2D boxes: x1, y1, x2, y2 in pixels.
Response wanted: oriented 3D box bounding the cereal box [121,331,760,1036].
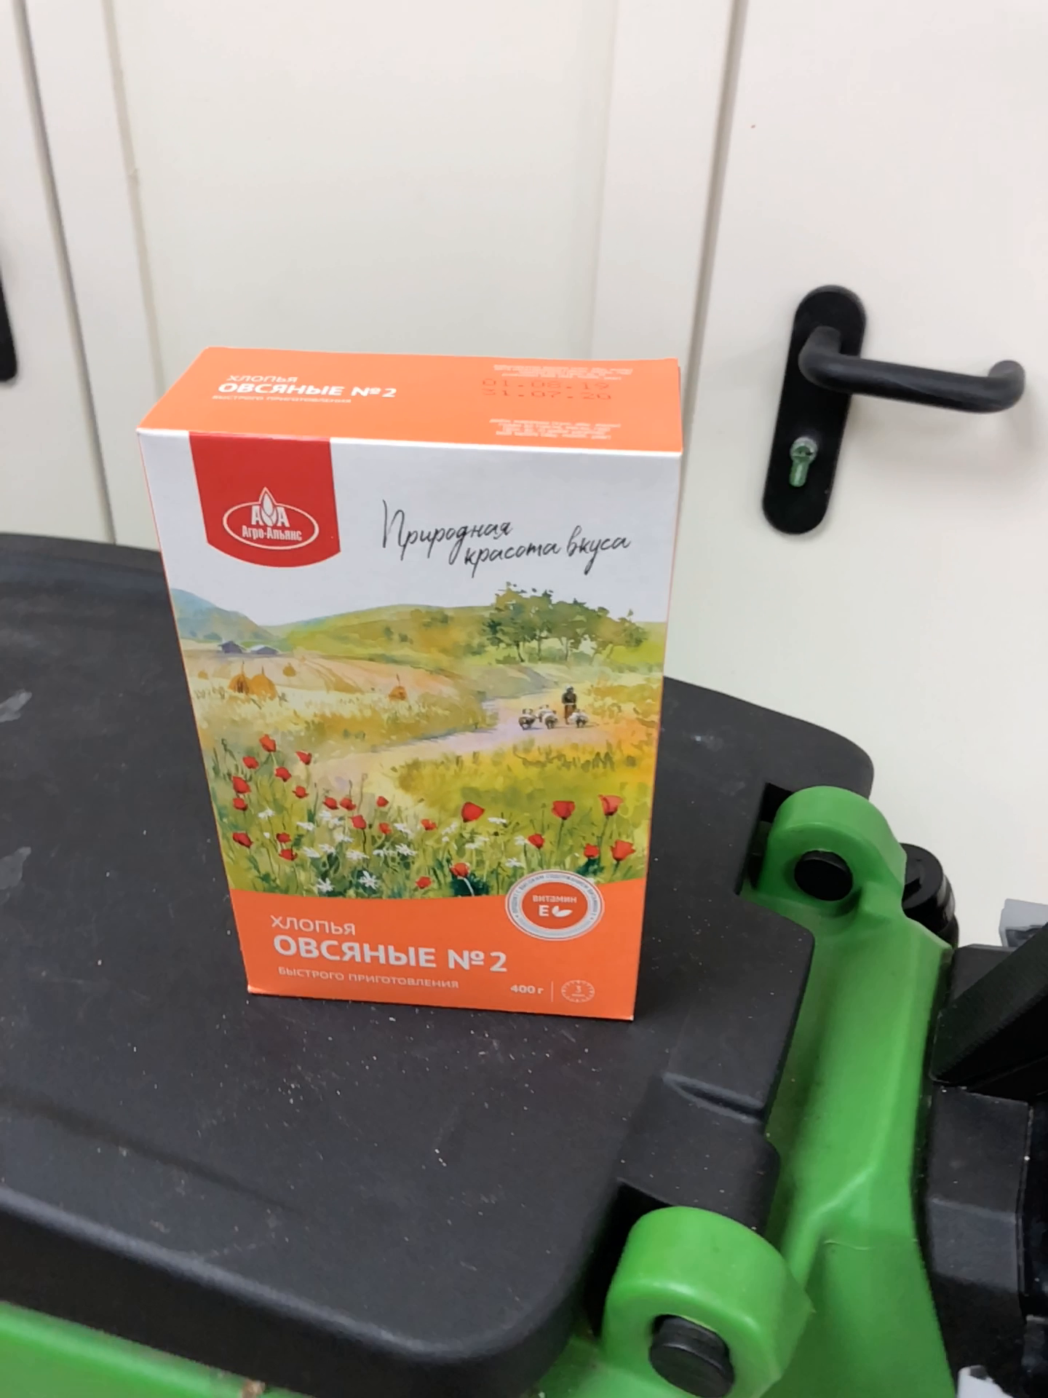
[{"bbox_3d":[-0.021,0.005,0.353,0.150,0.209,0.060,3,35,2],"label":"cereal box"}]
